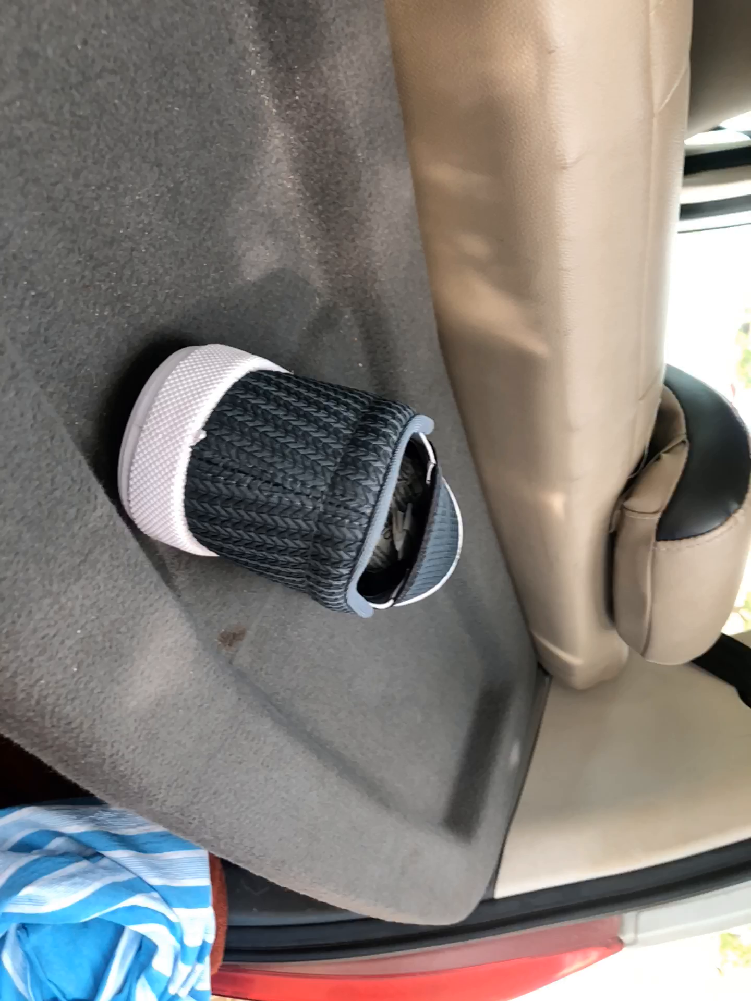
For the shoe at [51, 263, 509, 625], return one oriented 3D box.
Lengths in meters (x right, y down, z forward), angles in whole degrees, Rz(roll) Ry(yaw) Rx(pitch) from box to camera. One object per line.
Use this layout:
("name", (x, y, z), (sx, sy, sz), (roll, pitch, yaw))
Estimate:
("shoe", (-0.011, -0.003, 0.392), (0.282, 0.089, 0.080), (37, 63, -67))
